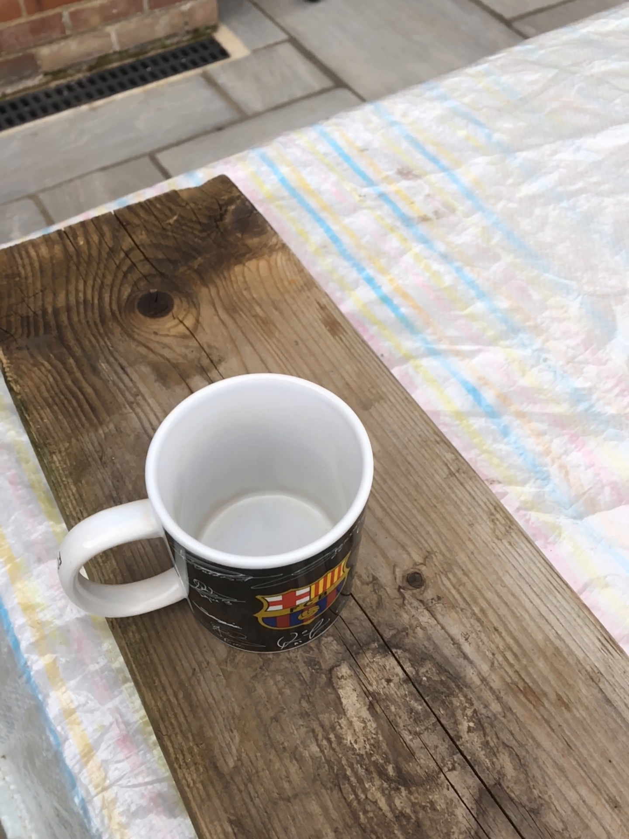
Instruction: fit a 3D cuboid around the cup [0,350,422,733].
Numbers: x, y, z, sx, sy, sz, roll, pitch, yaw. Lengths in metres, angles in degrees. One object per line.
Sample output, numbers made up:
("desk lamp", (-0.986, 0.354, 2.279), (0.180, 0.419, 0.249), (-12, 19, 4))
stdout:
("cup", (-0.041, 0.050, 0.286), (0.130, 0.090, 0.090), (-17, 59, -13))
